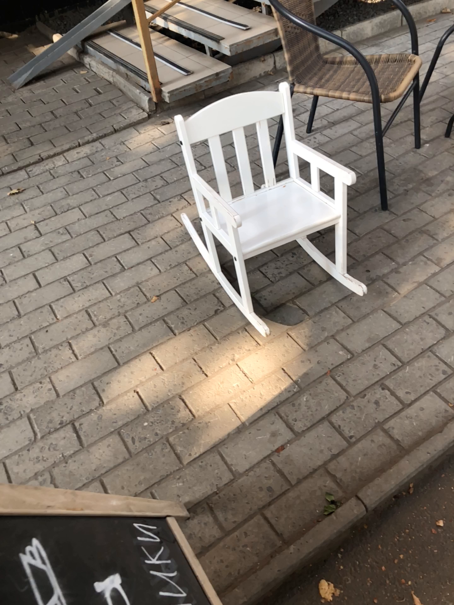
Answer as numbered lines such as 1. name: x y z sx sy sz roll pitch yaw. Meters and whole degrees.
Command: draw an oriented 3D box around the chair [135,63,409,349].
1. chair: 0.096 -0.340 1.541 0.440 0.458 0.753 -23 47 -14
